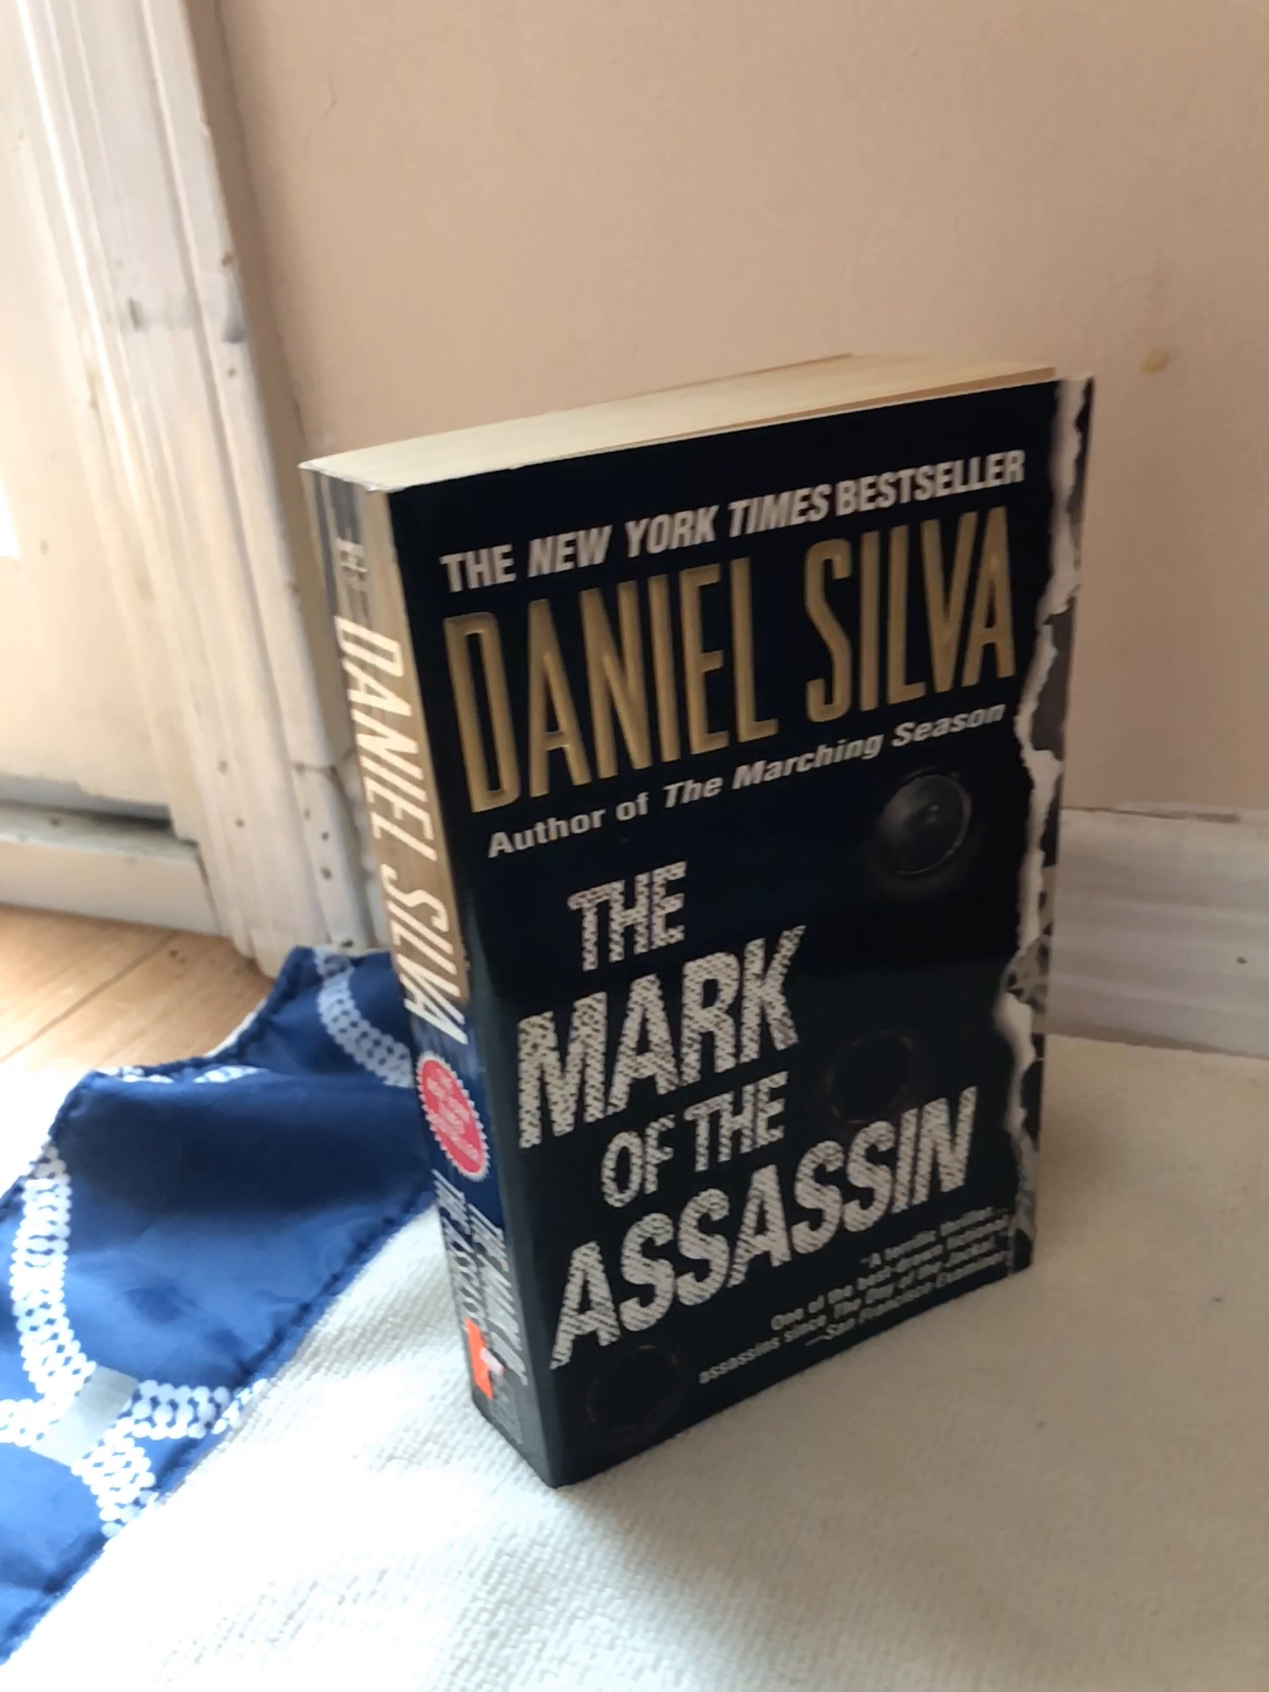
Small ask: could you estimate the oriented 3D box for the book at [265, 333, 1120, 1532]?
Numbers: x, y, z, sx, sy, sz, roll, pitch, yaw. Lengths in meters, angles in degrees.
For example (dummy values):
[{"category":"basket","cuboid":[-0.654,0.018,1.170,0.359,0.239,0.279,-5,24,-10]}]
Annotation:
[{"category":"book","cuboid":[0.019,0.011,0.241,0.119,0.169,0.045,-18,26,-24]}]
